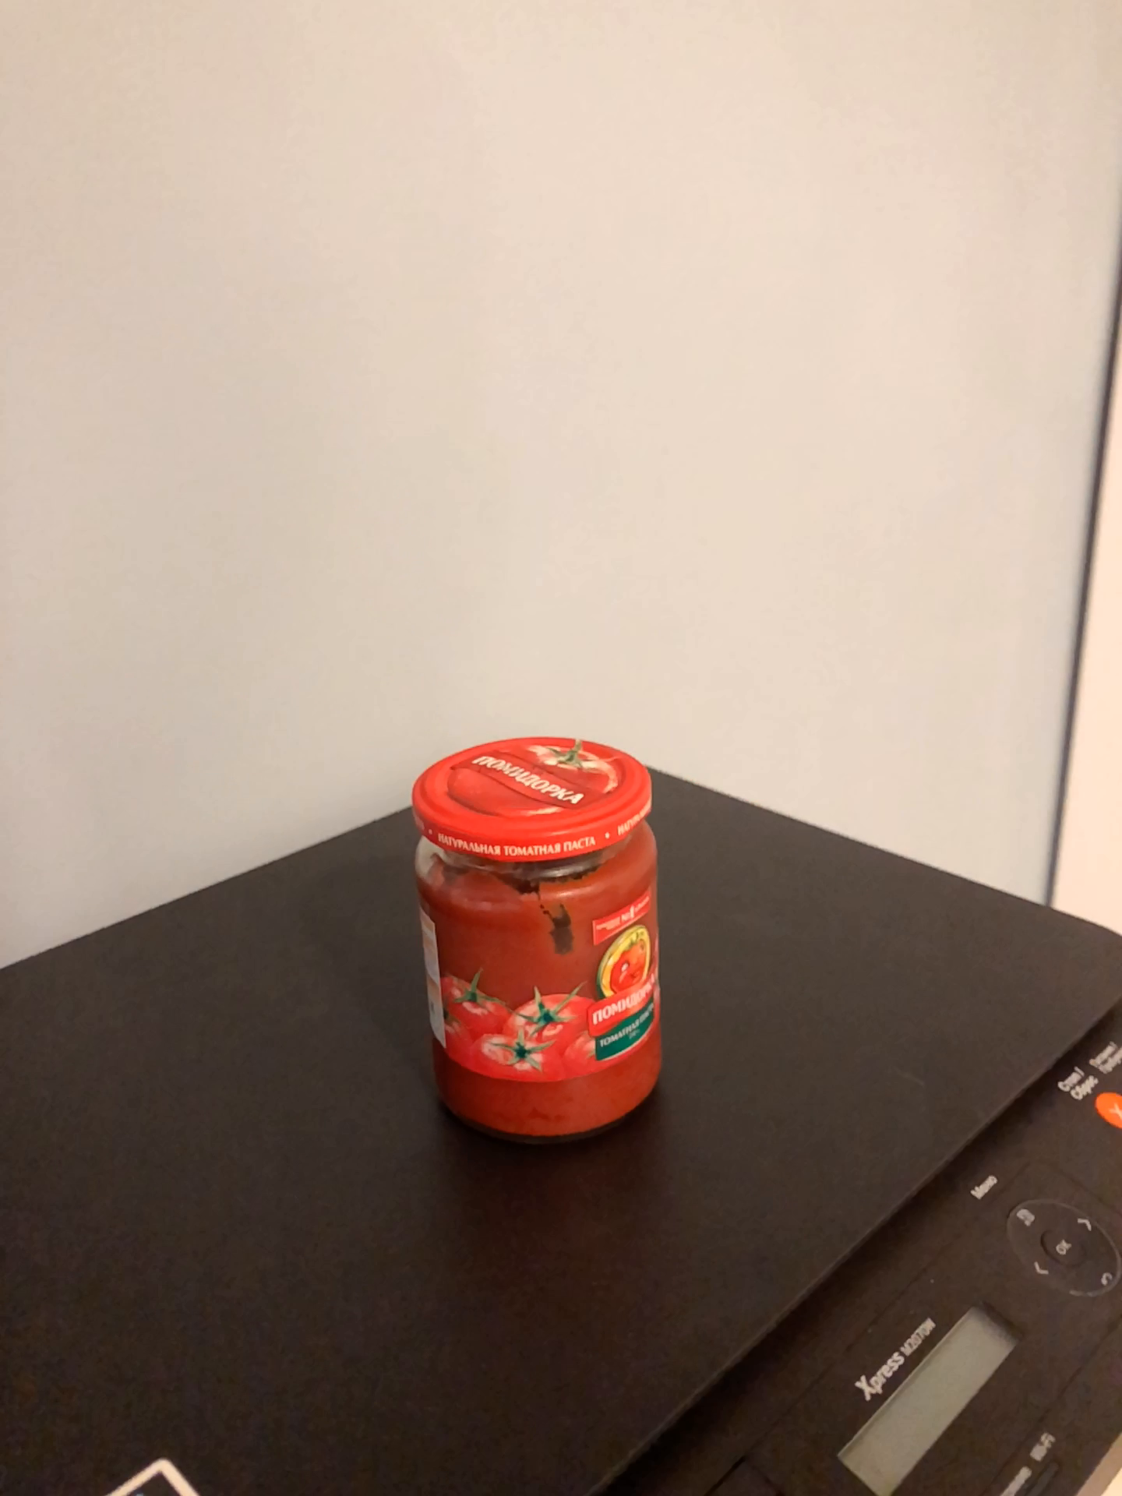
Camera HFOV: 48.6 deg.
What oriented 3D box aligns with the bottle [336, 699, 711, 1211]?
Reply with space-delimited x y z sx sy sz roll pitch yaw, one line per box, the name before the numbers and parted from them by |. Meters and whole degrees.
bottle | -0.010 0.055 0.364 0.080 0.109 0.070 -14 25 -28
